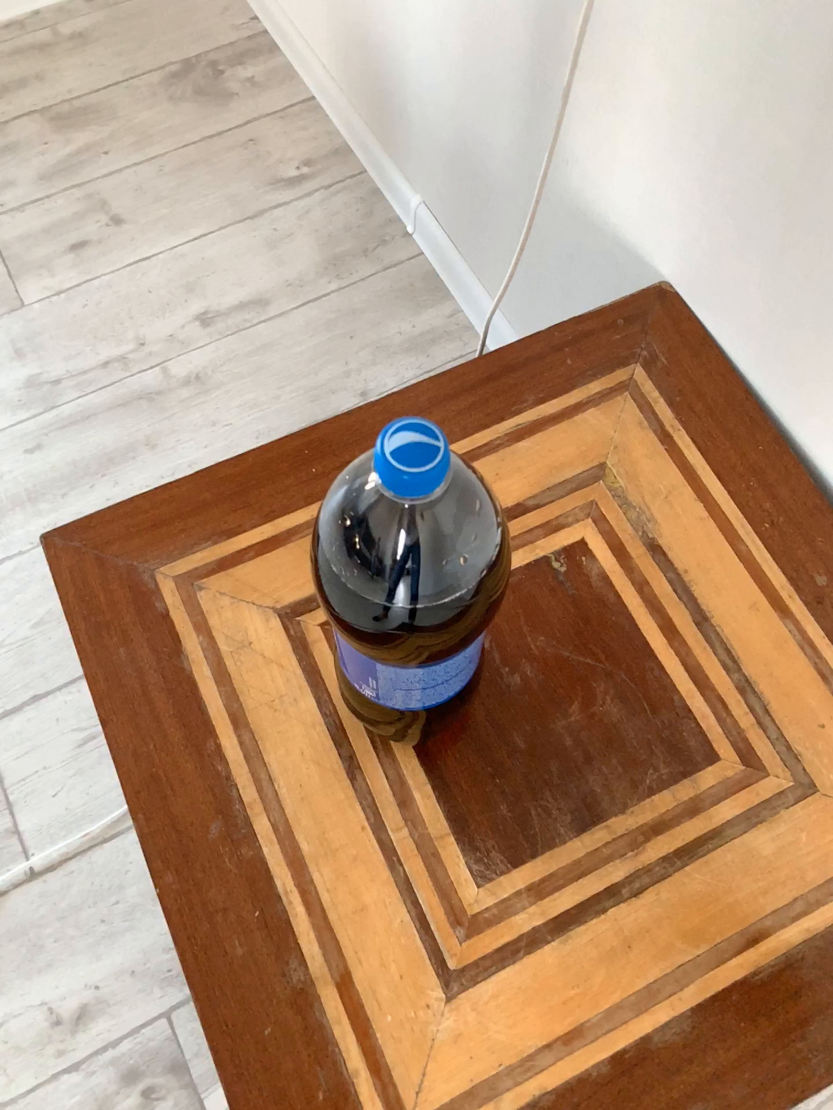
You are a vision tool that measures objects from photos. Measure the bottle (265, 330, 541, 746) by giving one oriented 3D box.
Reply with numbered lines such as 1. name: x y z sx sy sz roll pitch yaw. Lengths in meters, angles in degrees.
1. bottle: -0.003 0.023 0.483 0.100 0.340 0.100 0 66 0
